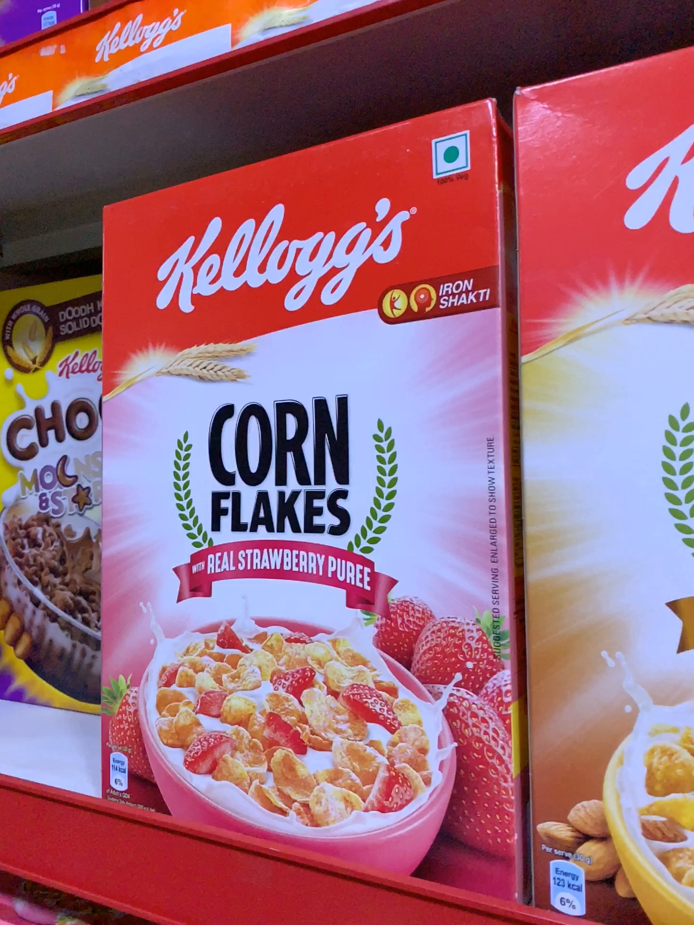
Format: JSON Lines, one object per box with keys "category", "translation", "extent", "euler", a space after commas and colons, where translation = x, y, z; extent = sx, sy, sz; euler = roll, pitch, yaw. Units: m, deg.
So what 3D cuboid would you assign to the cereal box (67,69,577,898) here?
{"category": "cereal box", "translation": [-0.017, 0.005, 0.282], "extent": [0.190, 0.240, 0.060], "euler": [-2, -3, 29]}
